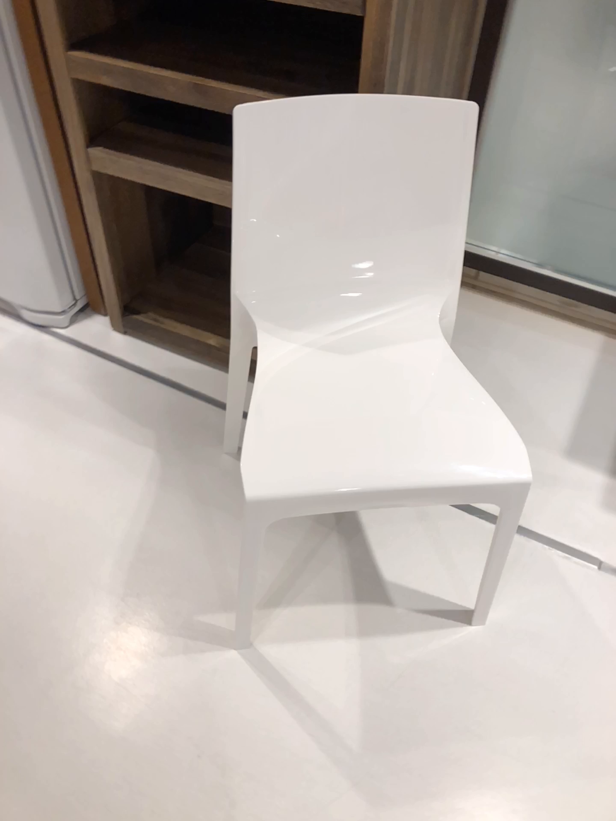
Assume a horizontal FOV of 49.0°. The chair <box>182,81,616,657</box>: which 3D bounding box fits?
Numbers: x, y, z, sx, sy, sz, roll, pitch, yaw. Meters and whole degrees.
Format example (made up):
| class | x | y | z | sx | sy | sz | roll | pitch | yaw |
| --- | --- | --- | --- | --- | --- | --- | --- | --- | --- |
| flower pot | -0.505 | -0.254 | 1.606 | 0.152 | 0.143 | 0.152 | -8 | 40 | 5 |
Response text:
| class | x | y | z | sx | sy | sz | roll | pitch | yaw |
| --- | --- | --- | --- | --- | --- | --- | --- | --- | --- |
| chair | 0.075 | -0.041 | 1.103 | 0.480 | 0.755 | 0.523 | -4 | 46 | -7 |
